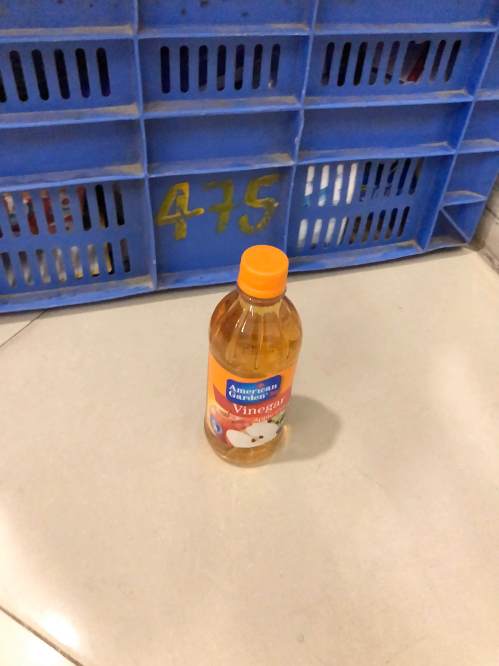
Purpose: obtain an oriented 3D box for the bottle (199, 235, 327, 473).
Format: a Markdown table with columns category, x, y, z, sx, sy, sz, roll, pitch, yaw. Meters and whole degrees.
| category | x | y | z | sx | sy | sz | roll | pitch | yaw |
| --- | --- | --- | --- | --- | --- | --- | --- | --- | --- |
| bottle | 0.001 | 0.021 | 0.398 | 0.070 | 0.169 | 0.070 | 2 | 44 | -2 |
